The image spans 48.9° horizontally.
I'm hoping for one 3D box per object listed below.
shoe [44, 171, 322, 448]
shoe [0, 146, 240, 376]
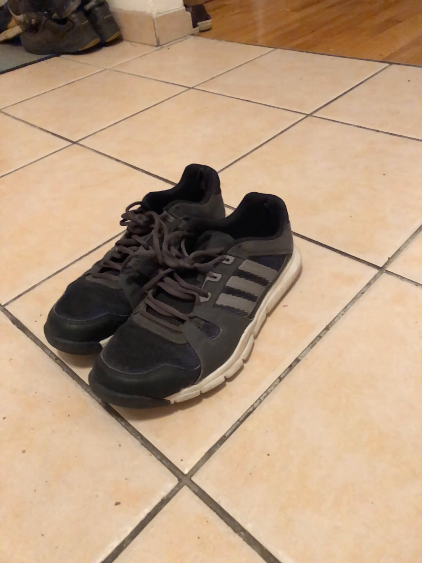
[{"bbox_3d":[-0.006,0.005,0.477,0.120,0.099,0.281,21,48,30],"label":"shoe"},{"bbox_3d":[-0.091,-0.042,0.544,0.110,0.099,0.281,25,50,28],"label":"shoe"}]
